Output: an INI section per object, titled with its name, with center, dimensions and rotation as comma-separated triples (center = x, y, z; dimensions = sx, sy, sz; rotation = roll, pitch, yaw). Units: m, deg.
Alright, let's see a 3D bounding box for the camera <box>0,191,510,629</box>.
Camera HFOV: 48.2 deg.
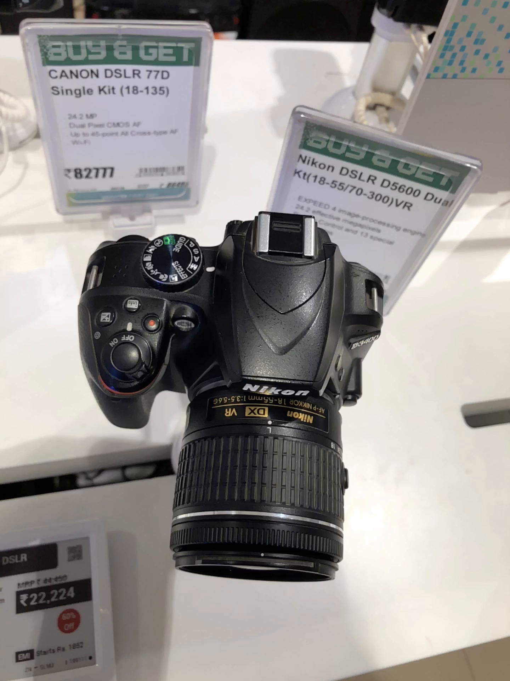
[camera]
center = 0.002, 0.030, 0.202
dimensions = 0.130, 0.090, 0.121
rotation = 4, 59, -7
